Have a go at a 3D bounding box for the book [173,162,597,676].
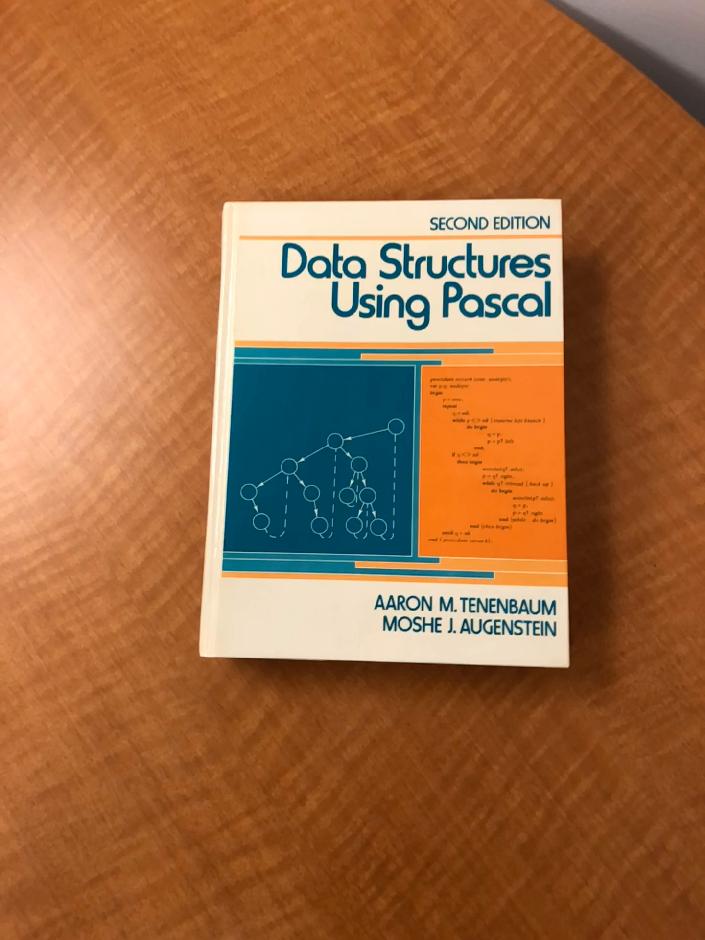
[{"bbox_3d":[0.017,-0.029,0.413,0.200,0.050,0.260,0,80,4],"label":"book"}]
